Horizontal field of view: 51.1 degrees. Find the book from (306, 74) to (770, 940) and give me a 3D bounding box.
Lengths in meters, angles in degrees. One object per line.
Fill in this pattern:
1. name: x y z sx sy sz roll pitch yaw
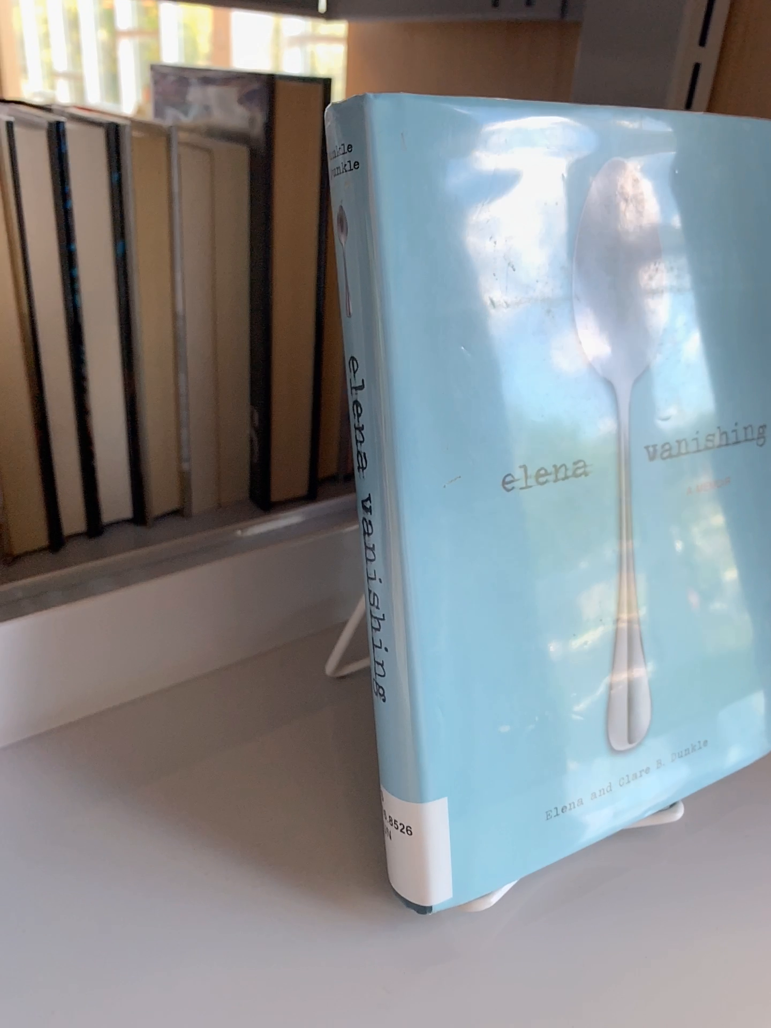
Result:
1. book: 0.067 -0.007 0.237 0.159 0.203 0.035 -12 14 -28
